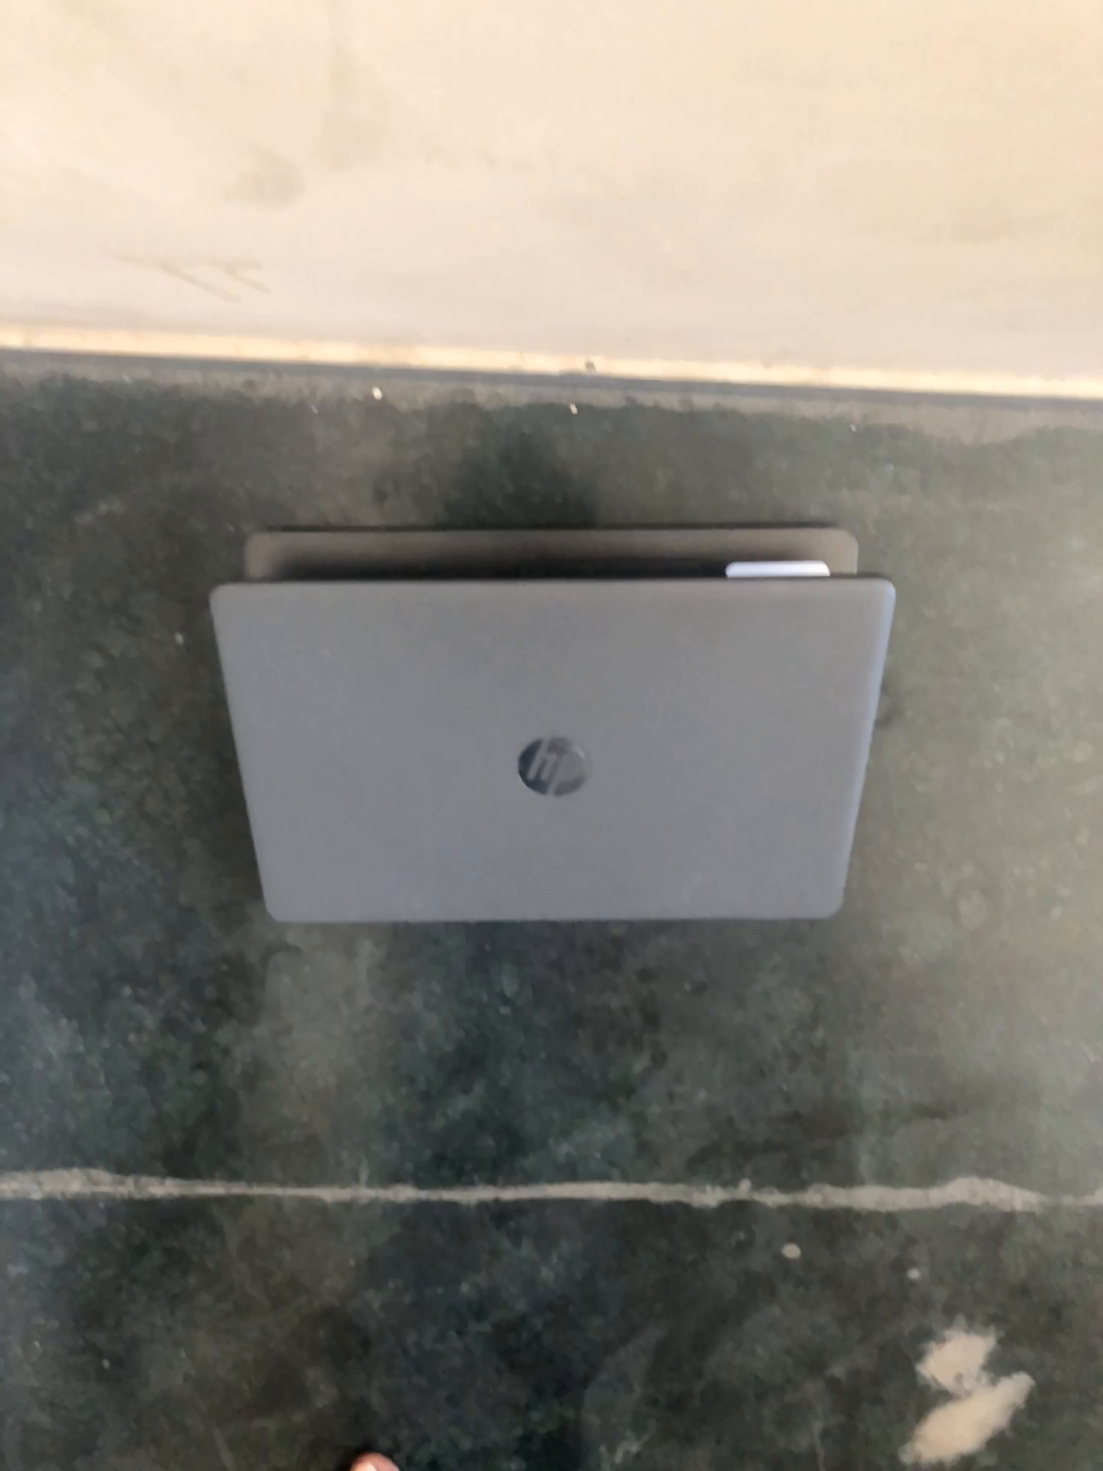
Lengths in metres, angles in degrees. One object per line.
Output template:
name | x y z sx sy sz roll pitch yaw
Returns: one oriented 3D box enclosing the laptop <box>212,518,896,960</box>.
laptop | 0.003 0.000 0.712 0.357 0.092 0.243 0 105 0
